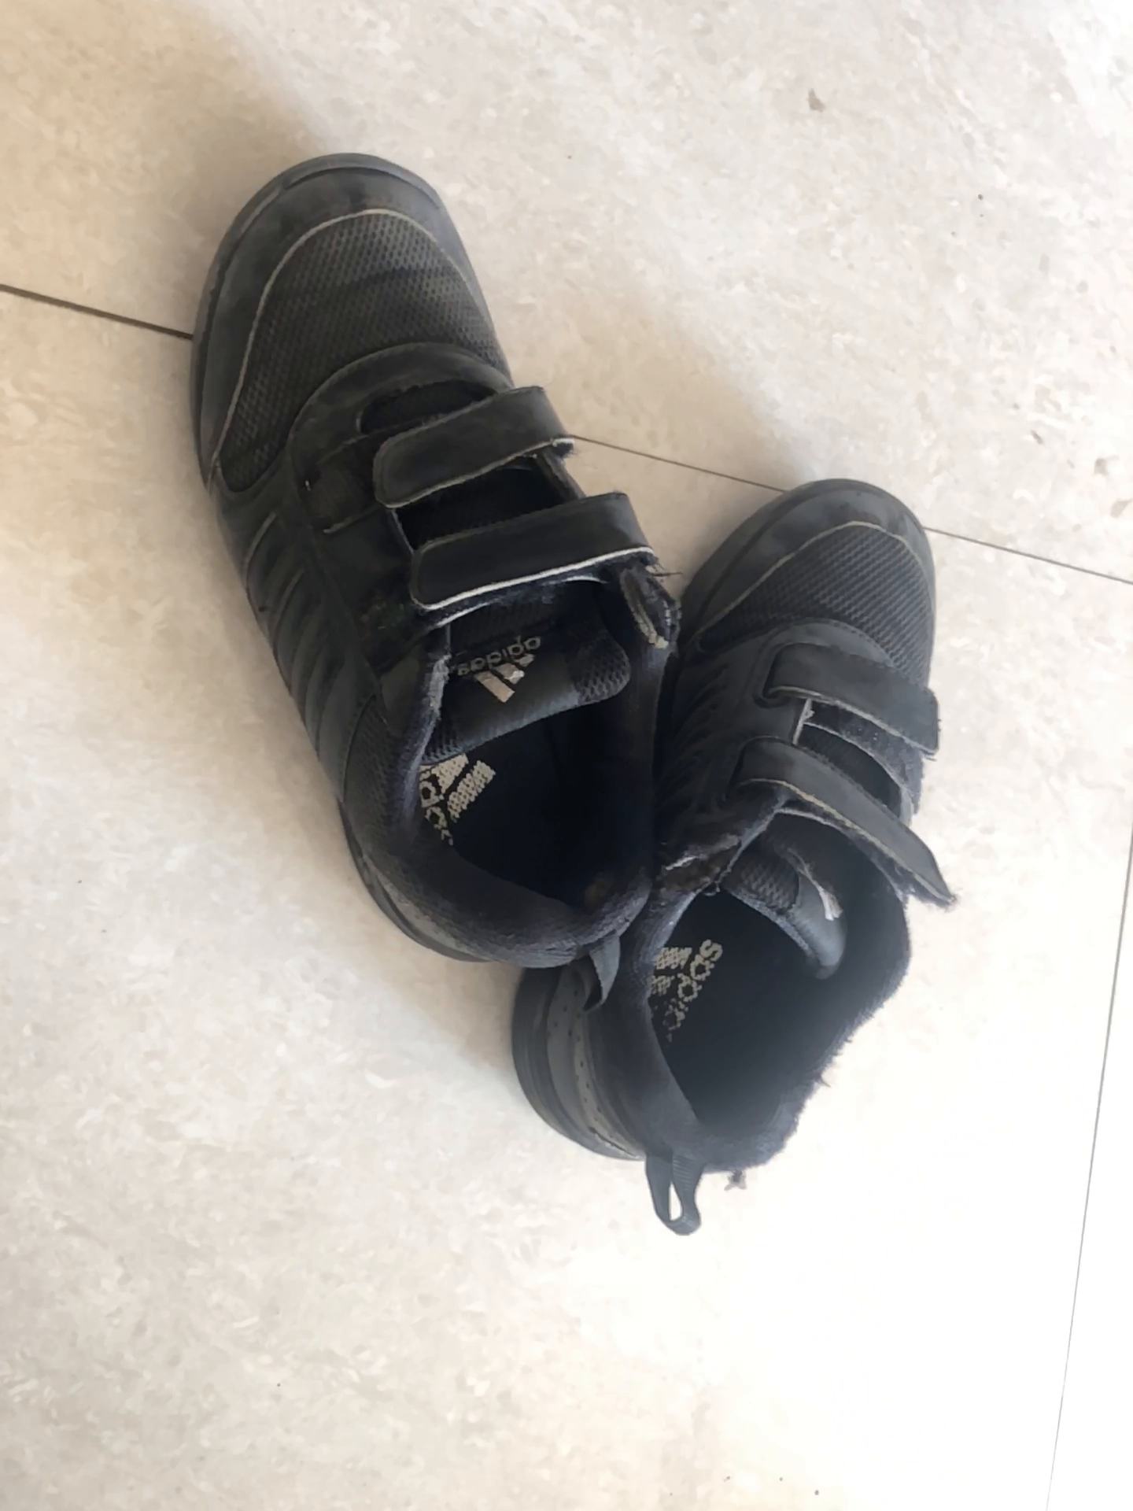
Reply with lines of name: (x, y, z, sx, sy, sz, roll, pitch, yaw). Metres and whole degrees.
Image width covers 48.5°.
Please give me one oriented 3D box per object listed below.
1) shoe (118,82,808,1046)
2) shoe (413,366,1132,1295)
shoe: (-0.028, -0.046, 0.325, 0.100, 0.080, 0.200, -21, 99, -21)
shoe: (0.059, 0.019, 0.373, 0.100, 0.100, 0.220, 28, 80, -20)
